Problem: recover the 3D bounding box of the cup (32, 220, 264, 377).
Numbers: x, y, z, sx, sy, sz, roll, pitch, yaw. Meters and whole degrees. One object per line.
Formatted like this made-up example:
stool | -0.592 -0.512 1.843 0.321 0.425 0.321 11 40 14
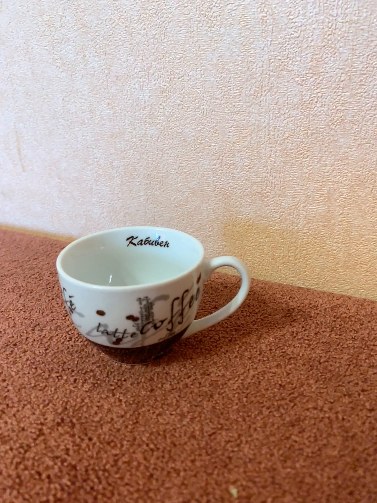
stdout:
cup | -0.012 0.017 0.176 0.083 0.040 0.065 -1 24 4
